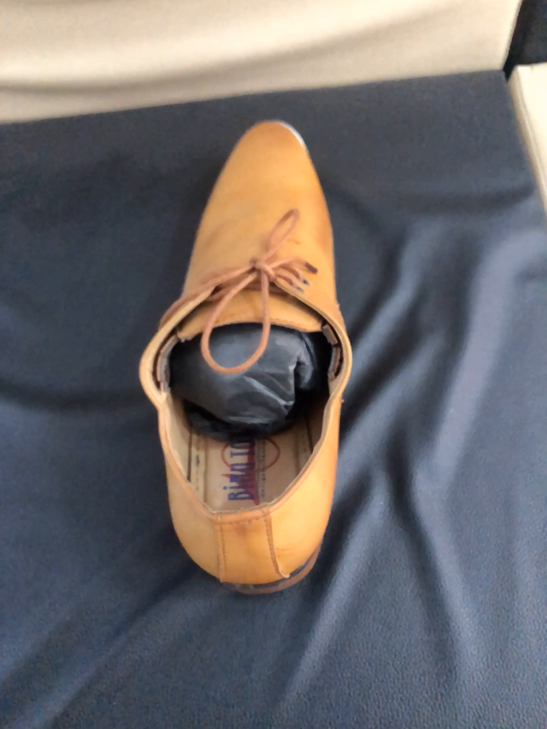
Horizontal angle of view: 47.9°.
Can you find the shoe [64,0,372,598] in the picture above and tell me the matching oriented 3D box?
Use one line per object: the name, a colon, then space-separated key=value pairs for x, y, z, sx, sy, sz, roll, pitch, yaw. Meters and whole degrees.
shoe: x=-0.013 y=-0.041 z=0.324 sx=0.110 sy=0.100 sz=0.300 roll=-1 pitch=66 yaw=5
